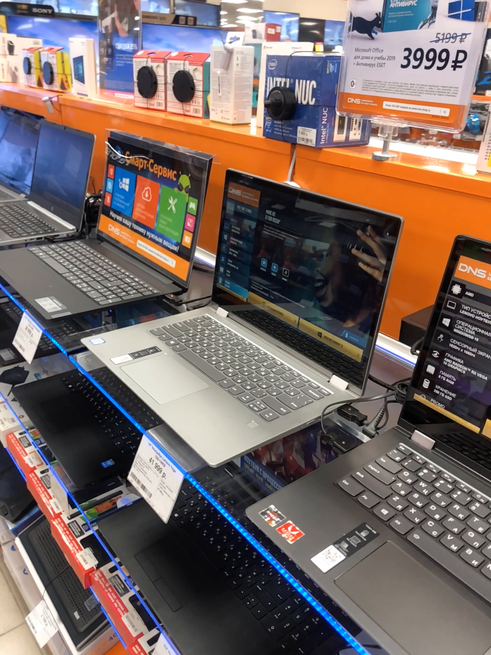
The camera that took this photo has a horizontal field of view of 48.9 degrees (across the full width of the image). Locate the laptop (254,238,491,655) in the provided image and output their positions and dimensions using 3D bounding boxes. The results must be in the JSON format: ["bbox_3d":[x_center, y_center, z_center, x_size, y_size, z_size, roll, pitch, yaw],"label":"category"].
[{"bbox_3d":[0.192,0.088,0.391,0.248,0.209,0.290,-16,30,-34],"label":"laptop"}]

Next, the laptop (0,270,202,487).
[{"bbox_3d":[-0.291,0.070,1.068,0.239,0.235,0.379,-16,31,-34],"label":"laptop"}]

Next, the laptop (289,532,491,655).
[{"bbox_3d":[0.235,0.387,0.440,0.237,0.213,0.309,-14,28,-33],"label":"laptop"}]

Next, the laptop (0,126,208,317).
[{"bbox_3d":[-0.275,-0.207,0.934,0.279,0.212,0.306,-19,35,-37],"label":"laptop"}]

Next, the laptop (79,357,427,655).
[{"bbox_3d":[-0.013,0.237,0.735,0.263,0.207,0.368,-17,31,-35],"label":"laptop"}]

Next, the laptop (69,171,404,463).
[{"bbox_3d":[-0.029,-0.049,0.657,0.238,0.212,0.316,-16,31,-34],"label":"laptop"}]
